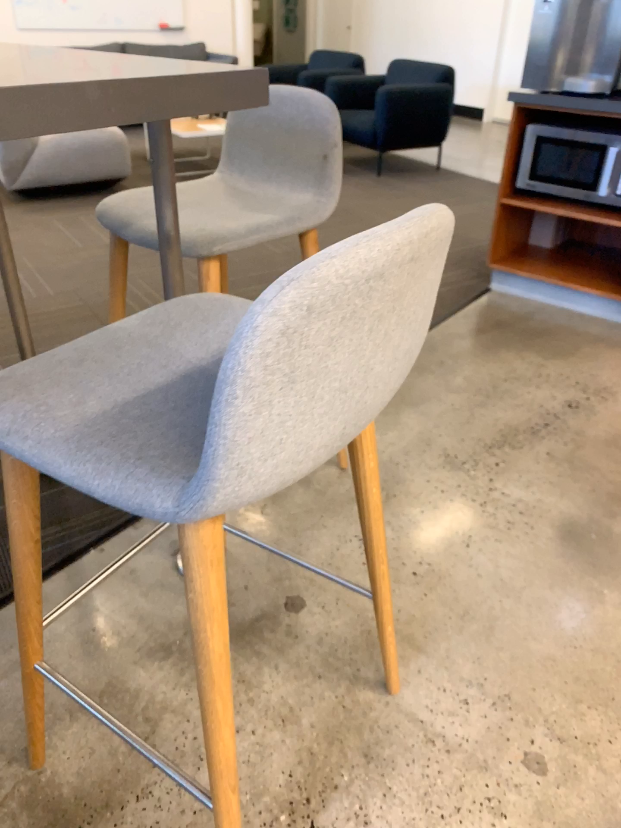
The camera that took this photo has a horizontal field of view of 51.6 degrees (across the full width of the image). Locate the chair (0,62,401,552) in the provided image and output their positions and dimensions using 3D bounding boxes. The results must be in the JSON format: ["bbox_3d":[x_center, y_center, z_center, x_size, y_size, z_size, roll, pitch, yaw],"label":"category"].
[{"bbox_3d":[-0.266,-0.319,1.645,0.713,0.964,0.541,27,40,34],"label":"chair"}]

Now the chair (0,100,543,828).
[{"bbox_3d":[-0.128,0.128,0.928,0.542,0.964,0.592,21,37,28],"label":"chair"}]
